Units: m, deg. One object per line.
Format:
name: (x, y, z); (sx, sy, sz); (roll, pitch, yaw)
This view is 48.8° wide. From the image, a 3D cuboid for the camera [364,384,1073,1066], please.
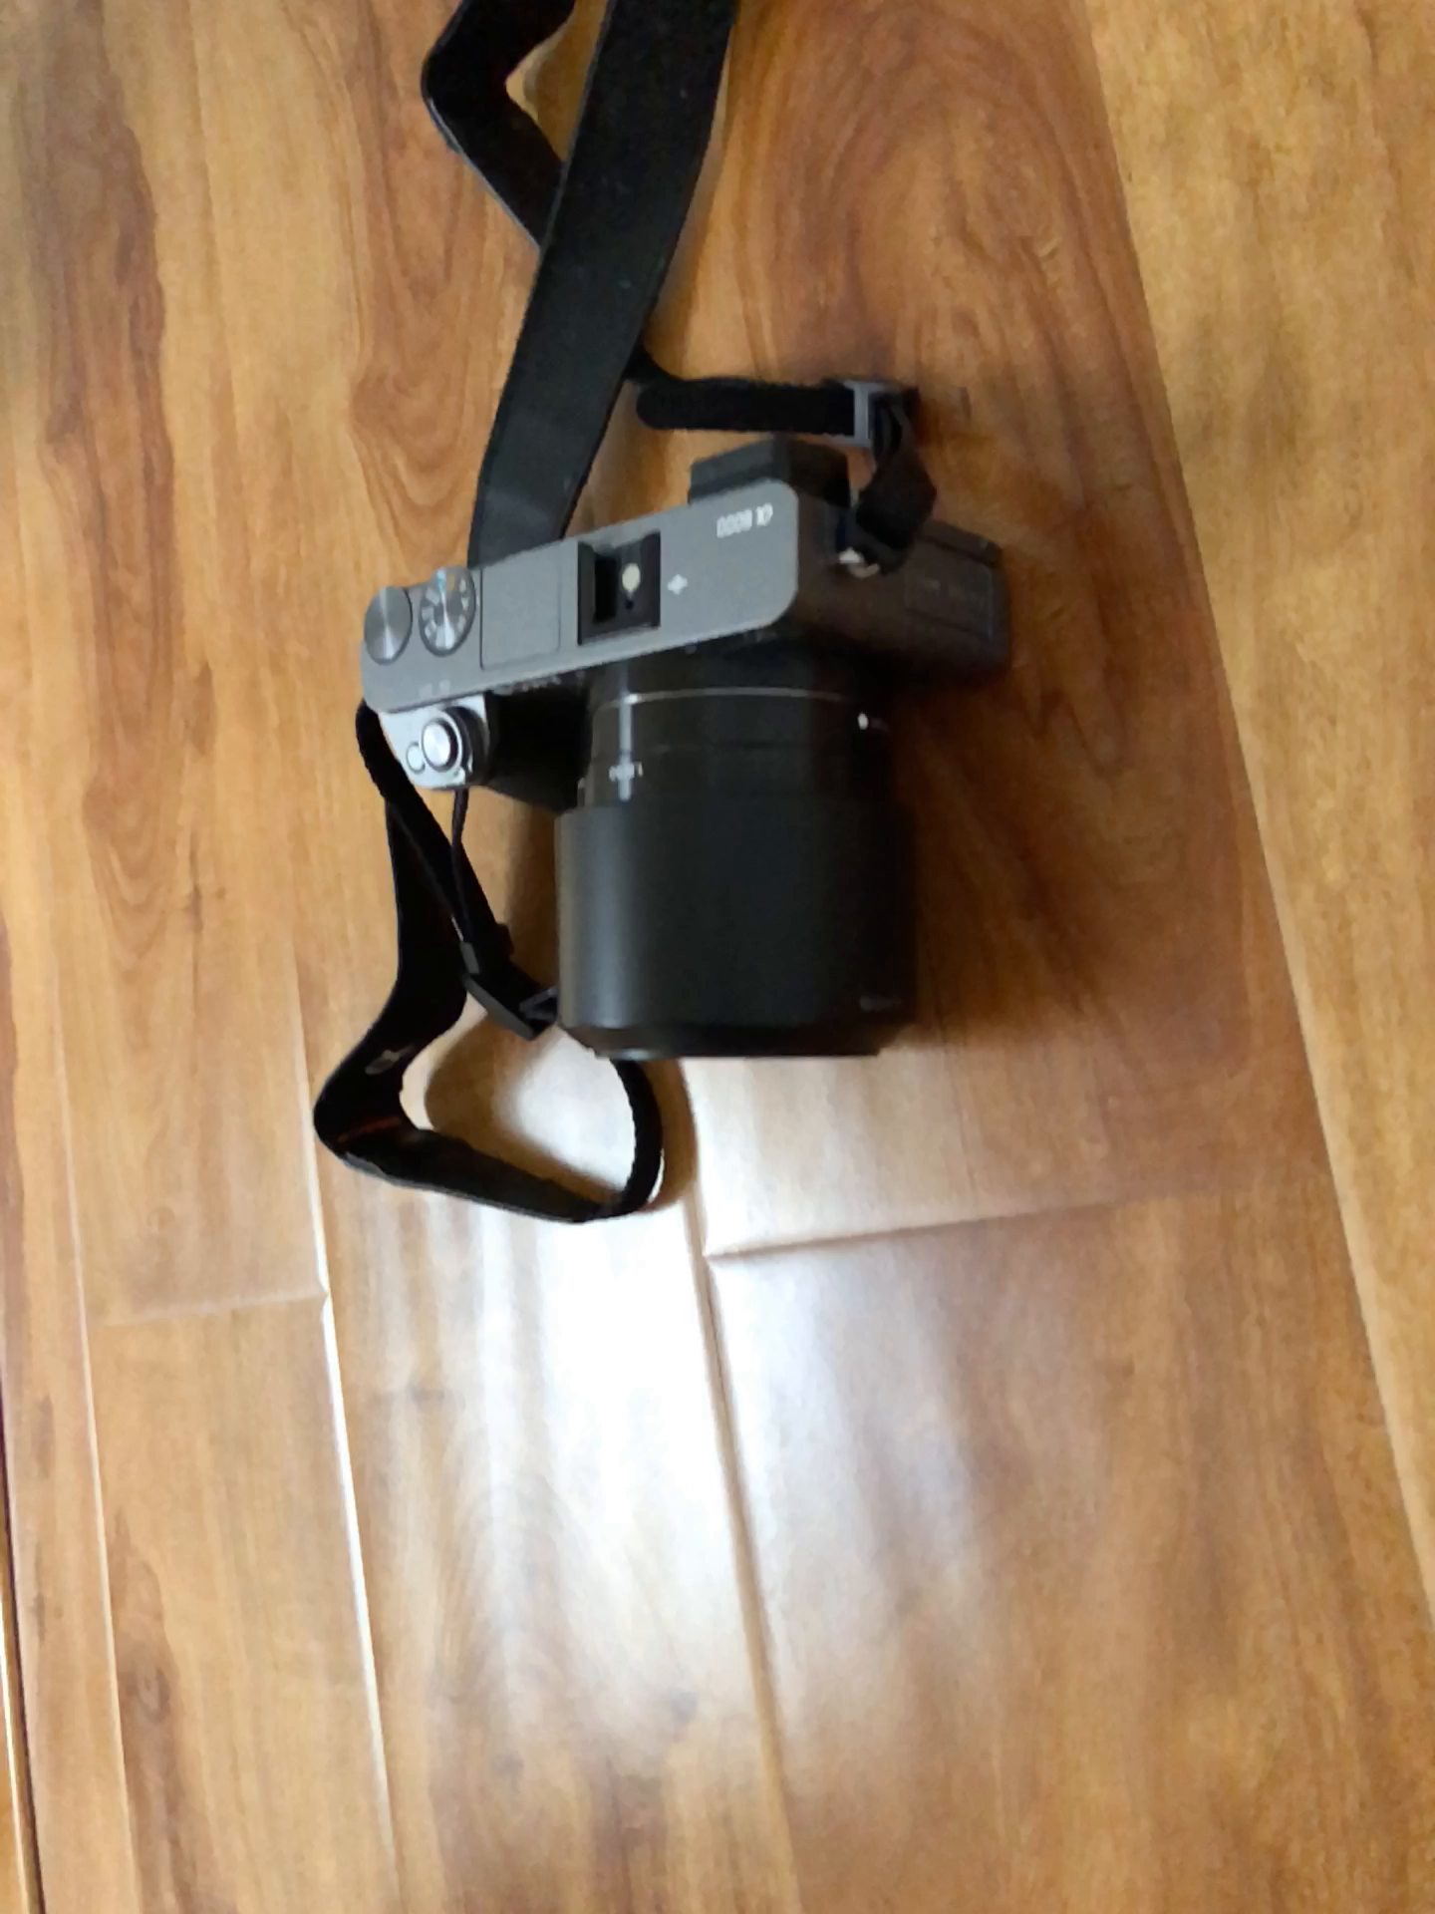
camera: (-0.005, -0.034, 0.325); (0.131, 0.070, 0.110); (-4, 85, 42)
